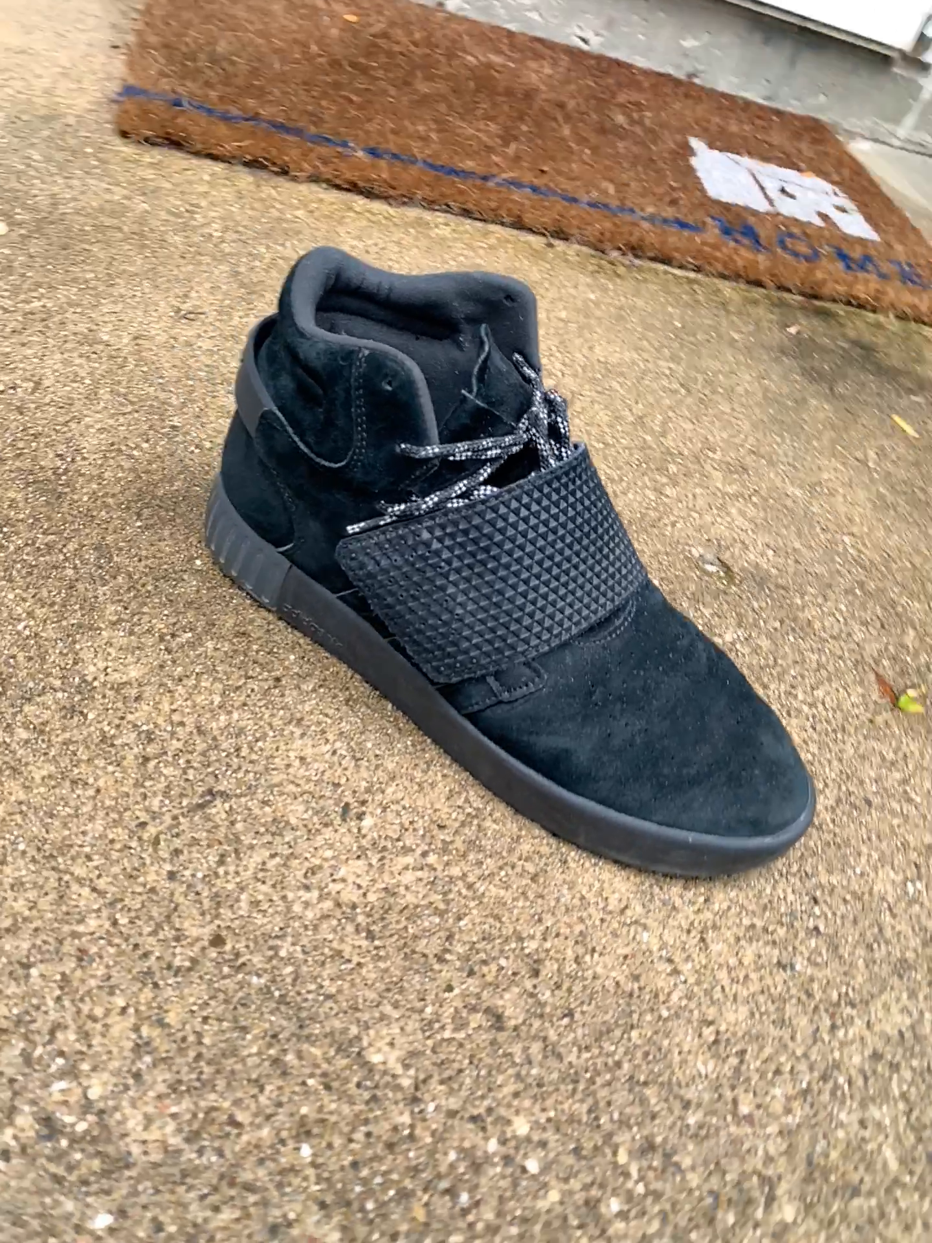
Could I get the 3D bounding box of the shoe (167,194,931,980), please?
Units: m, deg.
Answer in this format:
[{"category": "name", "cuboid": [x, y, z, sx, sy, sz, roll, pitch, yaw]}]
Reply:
[{"category": "shoe", "cuboid": [0.039, -0.022, 0.379, 0.290, 0.141, 0.119, 34, 45, 11]}]
